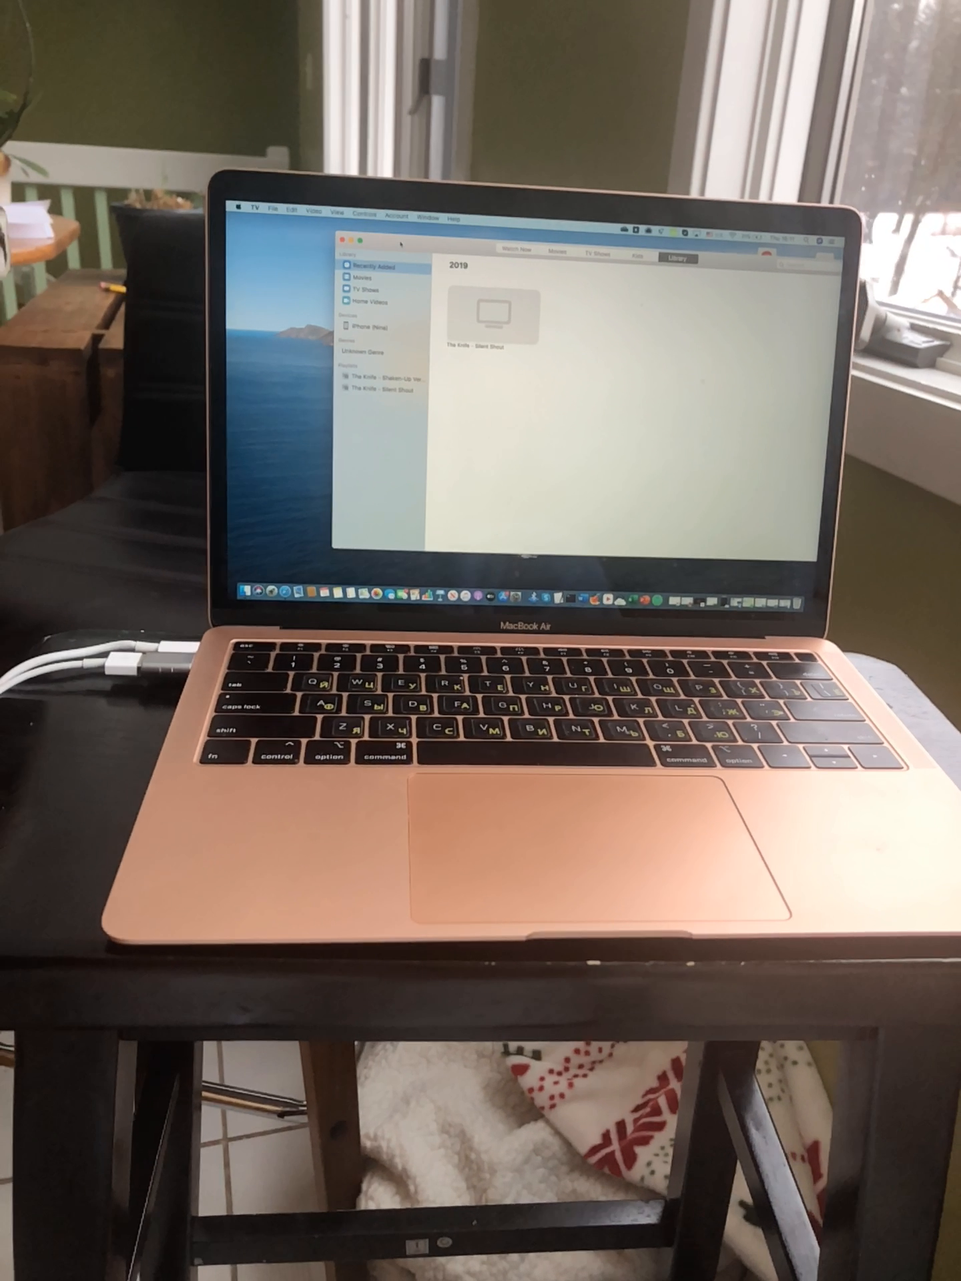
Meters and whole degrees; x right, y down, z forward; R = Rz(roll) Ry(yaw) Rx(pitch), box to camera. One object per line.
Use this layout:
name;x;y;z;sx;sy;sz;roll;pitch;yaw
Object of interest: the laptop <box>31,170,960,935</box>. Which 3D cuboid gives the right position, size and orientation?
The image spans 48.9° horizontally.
laptop;0.035;-0.059;0.404;0.298;0.196;0.265;1;25;-6
